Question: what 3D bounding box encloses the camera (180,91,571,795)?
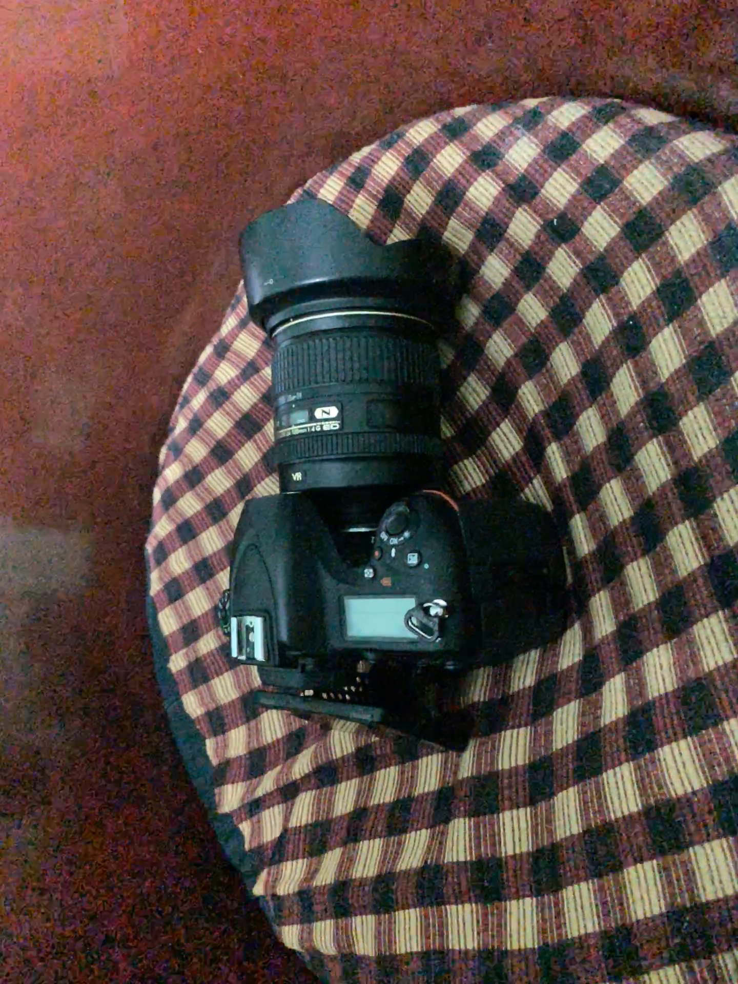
[{"bbox_3d":[0.002,-0.013,0.349,0.141,0.101,0.250,-7,78,46],"label":"camera"}]
